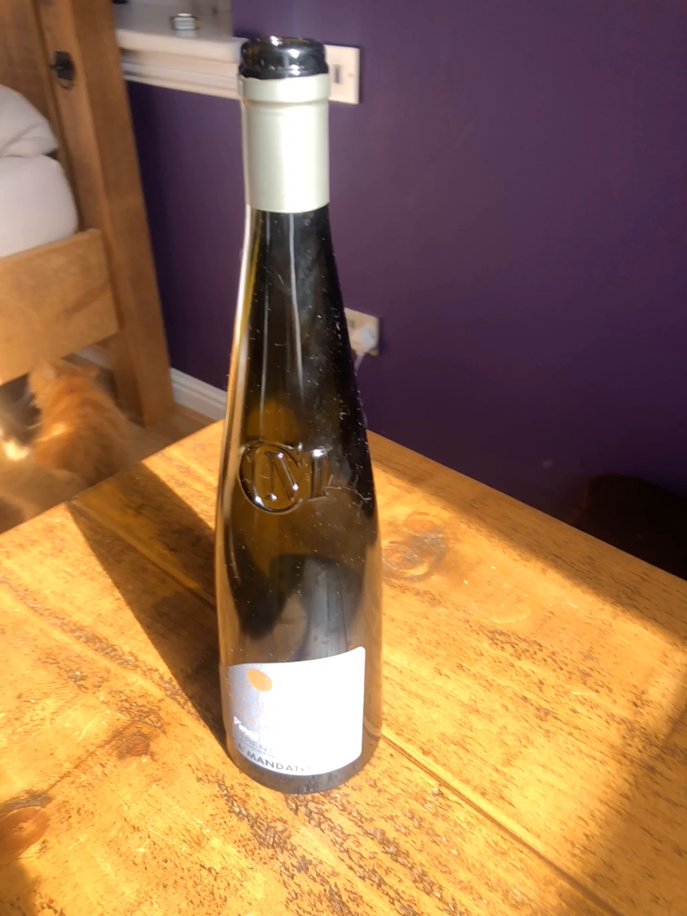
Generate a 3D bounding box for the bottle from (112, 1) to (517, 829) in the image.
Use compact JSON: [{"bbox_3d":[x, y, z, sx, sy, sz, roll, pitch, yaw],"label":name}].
[{"bbox_3d":[0.000,0.005,0.324,0.100,0.337,0.101,0,34,0],"label":"bottle"}]
